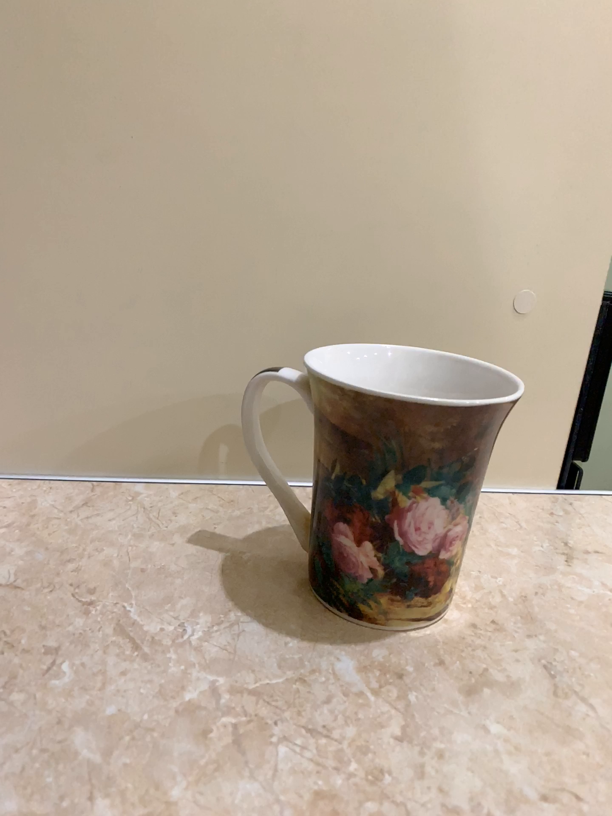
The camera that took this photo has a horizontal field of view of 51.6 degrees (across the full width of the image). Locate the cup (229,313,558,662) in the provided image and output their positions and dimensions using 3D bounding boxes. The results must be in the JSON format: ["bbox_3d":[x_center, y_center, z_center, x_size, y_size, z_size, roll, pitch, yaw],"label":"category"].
[{"bbox_3d":[0.038,0.022,0.274,0.101,0.096,0.095,5,20,-2],"label":"cup"}]
